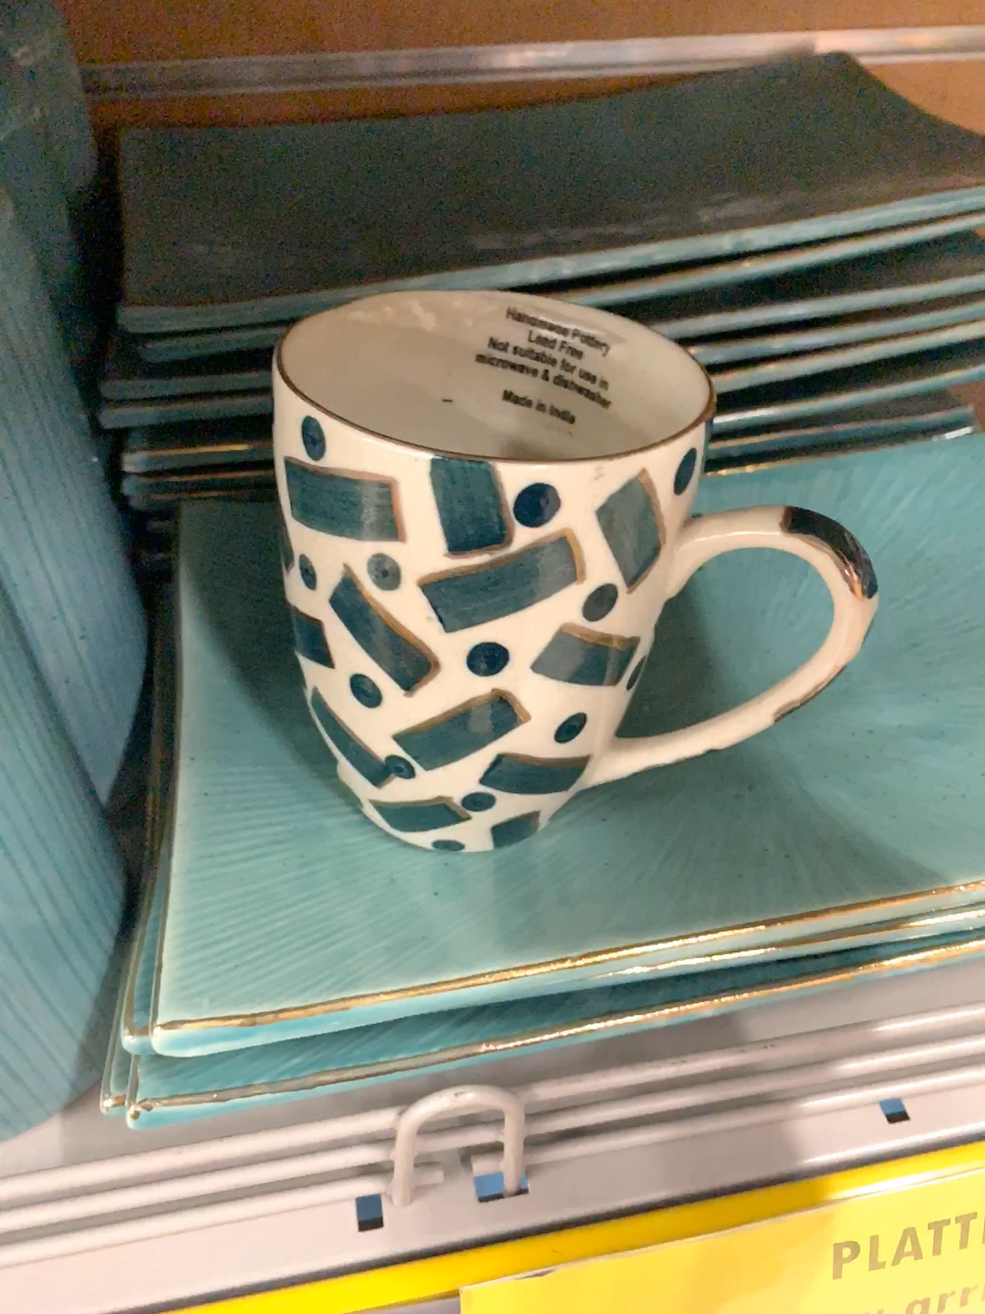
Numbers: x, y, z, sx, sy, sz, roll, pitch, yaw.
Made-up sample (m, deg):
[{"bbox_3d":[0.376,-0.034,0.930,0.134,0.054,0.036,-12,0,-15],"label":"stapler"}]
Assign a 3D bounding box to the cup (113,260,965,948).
[{"bbox_3d":[0.006,-0.013,0.187,0.110,0.080,0.080,8,36,2],"label":"cup"}]
